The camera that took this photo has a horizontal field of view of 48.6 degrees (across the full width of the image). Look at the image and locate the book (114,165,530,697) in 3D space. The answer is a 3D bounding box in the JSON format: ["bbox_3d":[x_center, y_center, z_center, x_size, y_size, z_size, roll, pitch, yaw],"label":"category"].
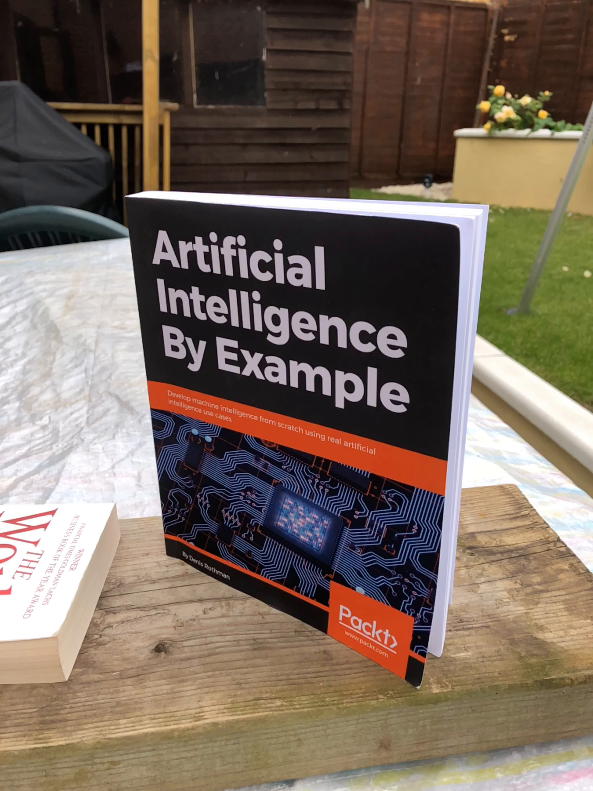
[{"bbox_3d":[-0.003,0.007,0.353,0.210,0.239,0.040,16,26,33],"label":"book"}]
